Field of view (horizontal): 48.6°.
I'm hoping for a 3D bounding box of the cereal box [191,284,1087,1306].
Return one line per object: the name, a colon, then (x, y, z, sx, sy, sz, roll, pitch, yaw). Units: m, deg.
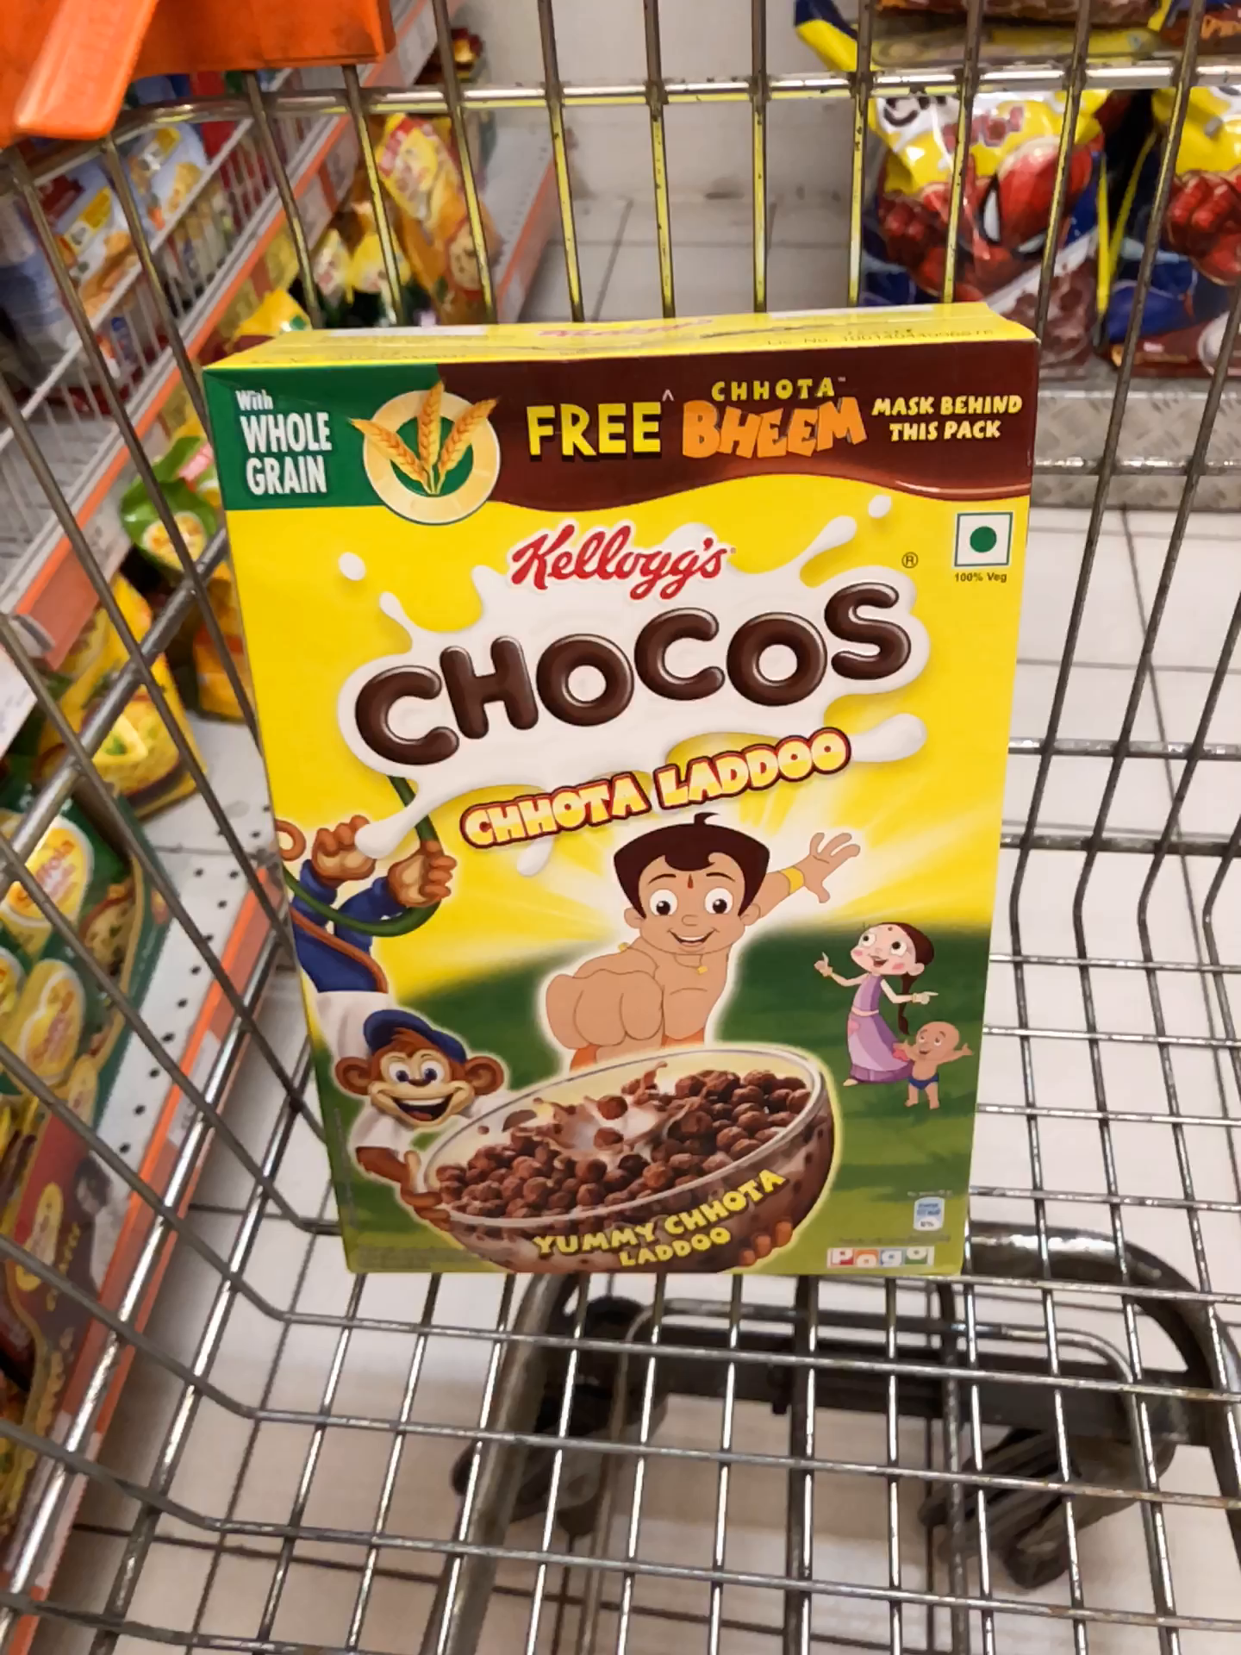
cereal box: (0.010, -0.003, 0.359, 0.180, 0.249, 0.080, -1, 22, 4)
